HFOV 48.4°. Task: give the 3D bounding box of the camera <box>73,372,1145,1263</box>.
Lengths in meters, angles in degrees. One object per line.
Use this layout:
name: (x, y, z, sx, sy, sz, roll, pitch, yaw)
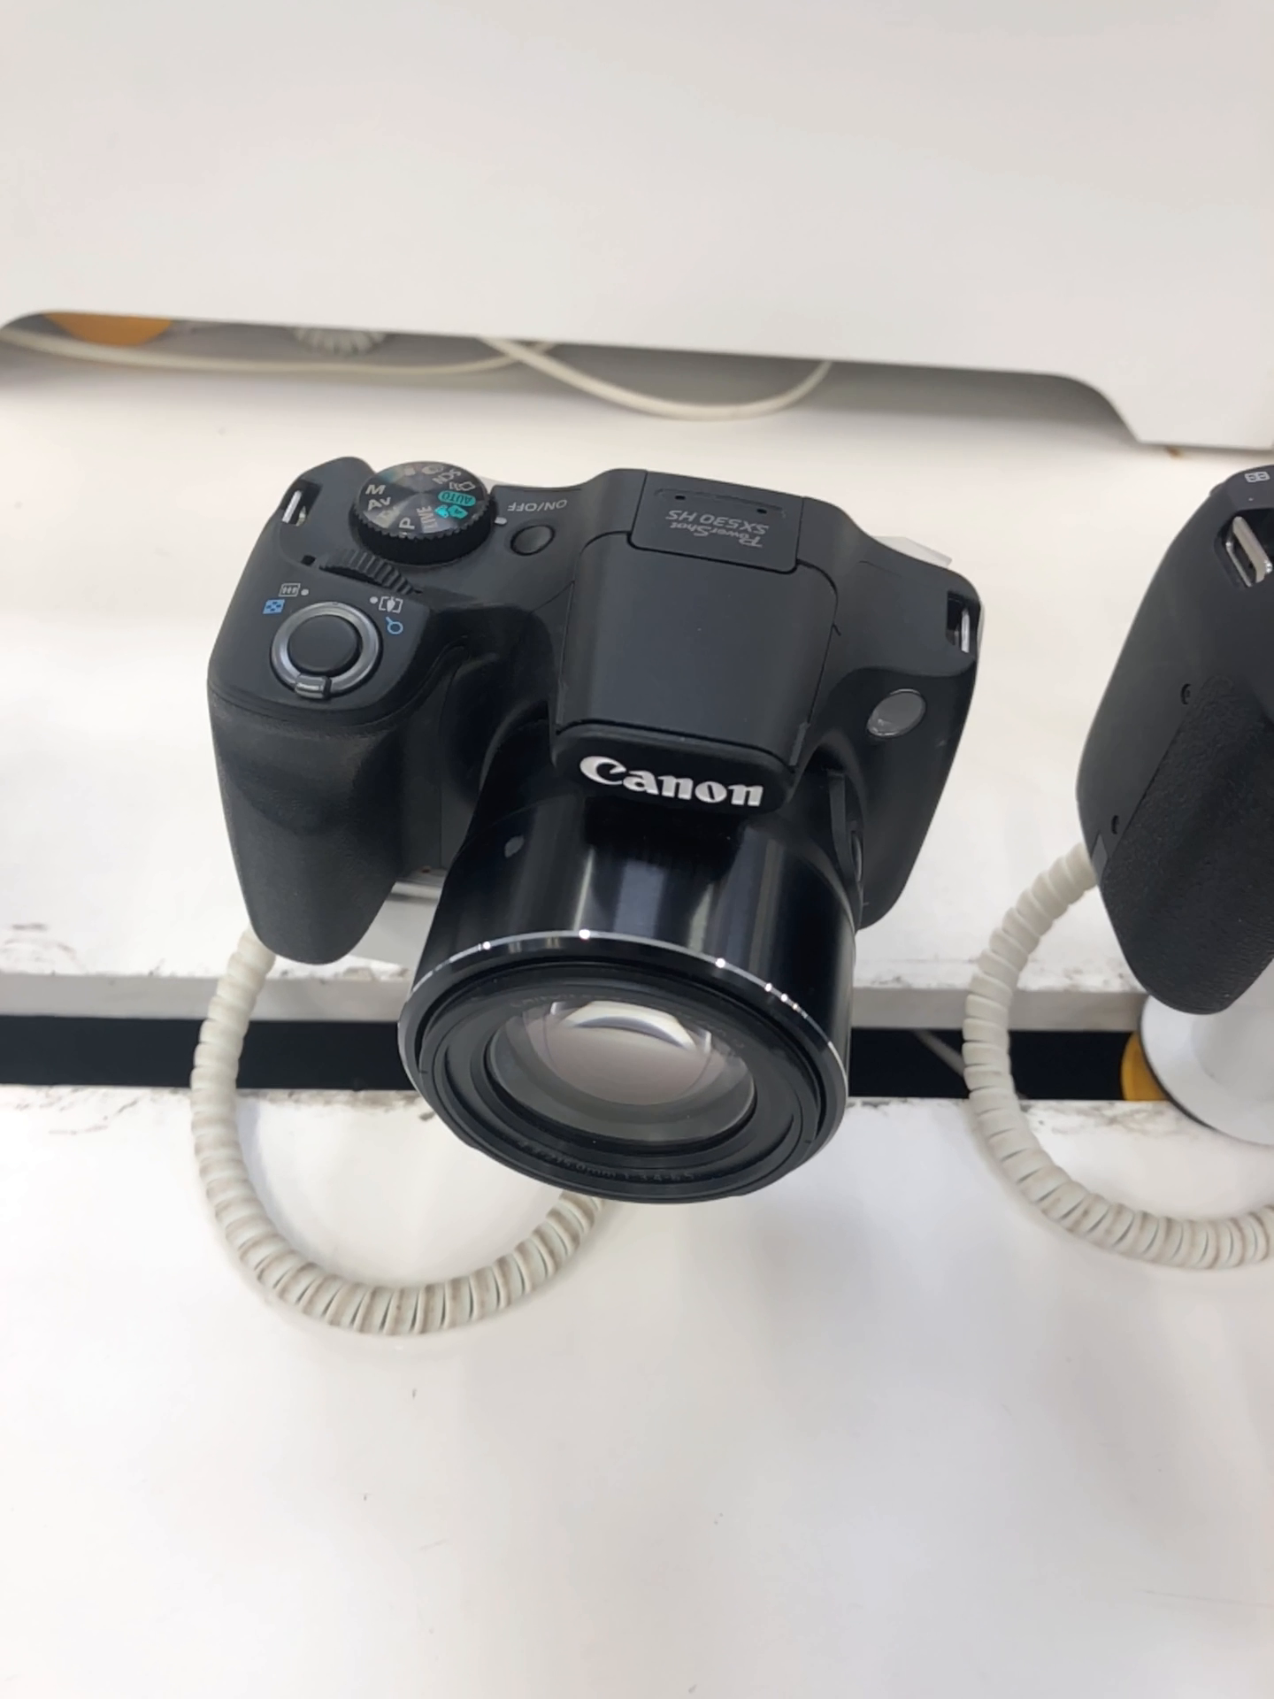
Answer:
camera: (-0.002, -0.003, 0.217, 0.120, 0.089, 0.080, 9, 50, 1)
